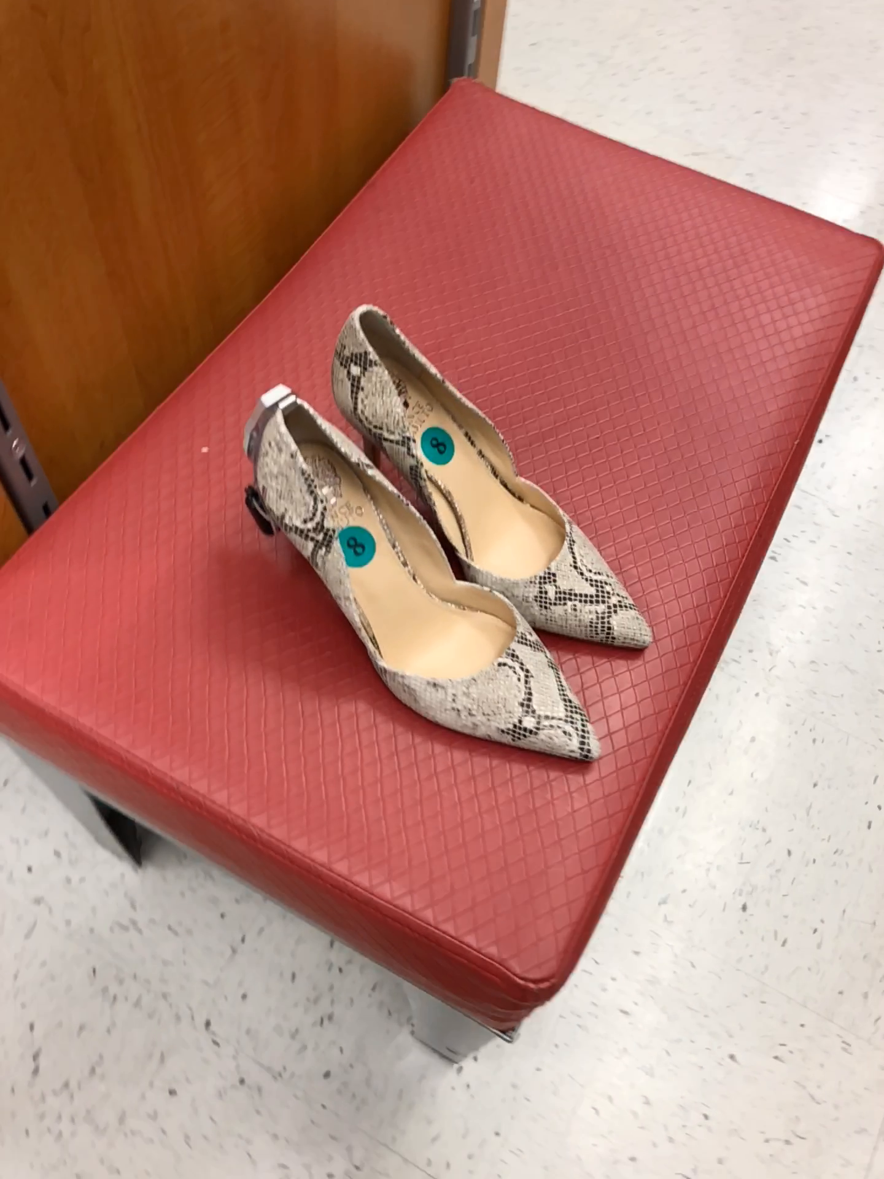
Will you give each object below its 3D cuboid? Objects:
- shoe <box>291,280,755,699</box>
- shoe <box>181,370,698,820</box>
[{"bbox_3d":[0.039,-0.064,0.594,0.259,0.102,0.093,36,63,16],"label":"shoe"},{"bbox_3d":[-0.008,0.002,0.552,0.262,0.112,0.092,32,62,14],"label":"shoe"}]
